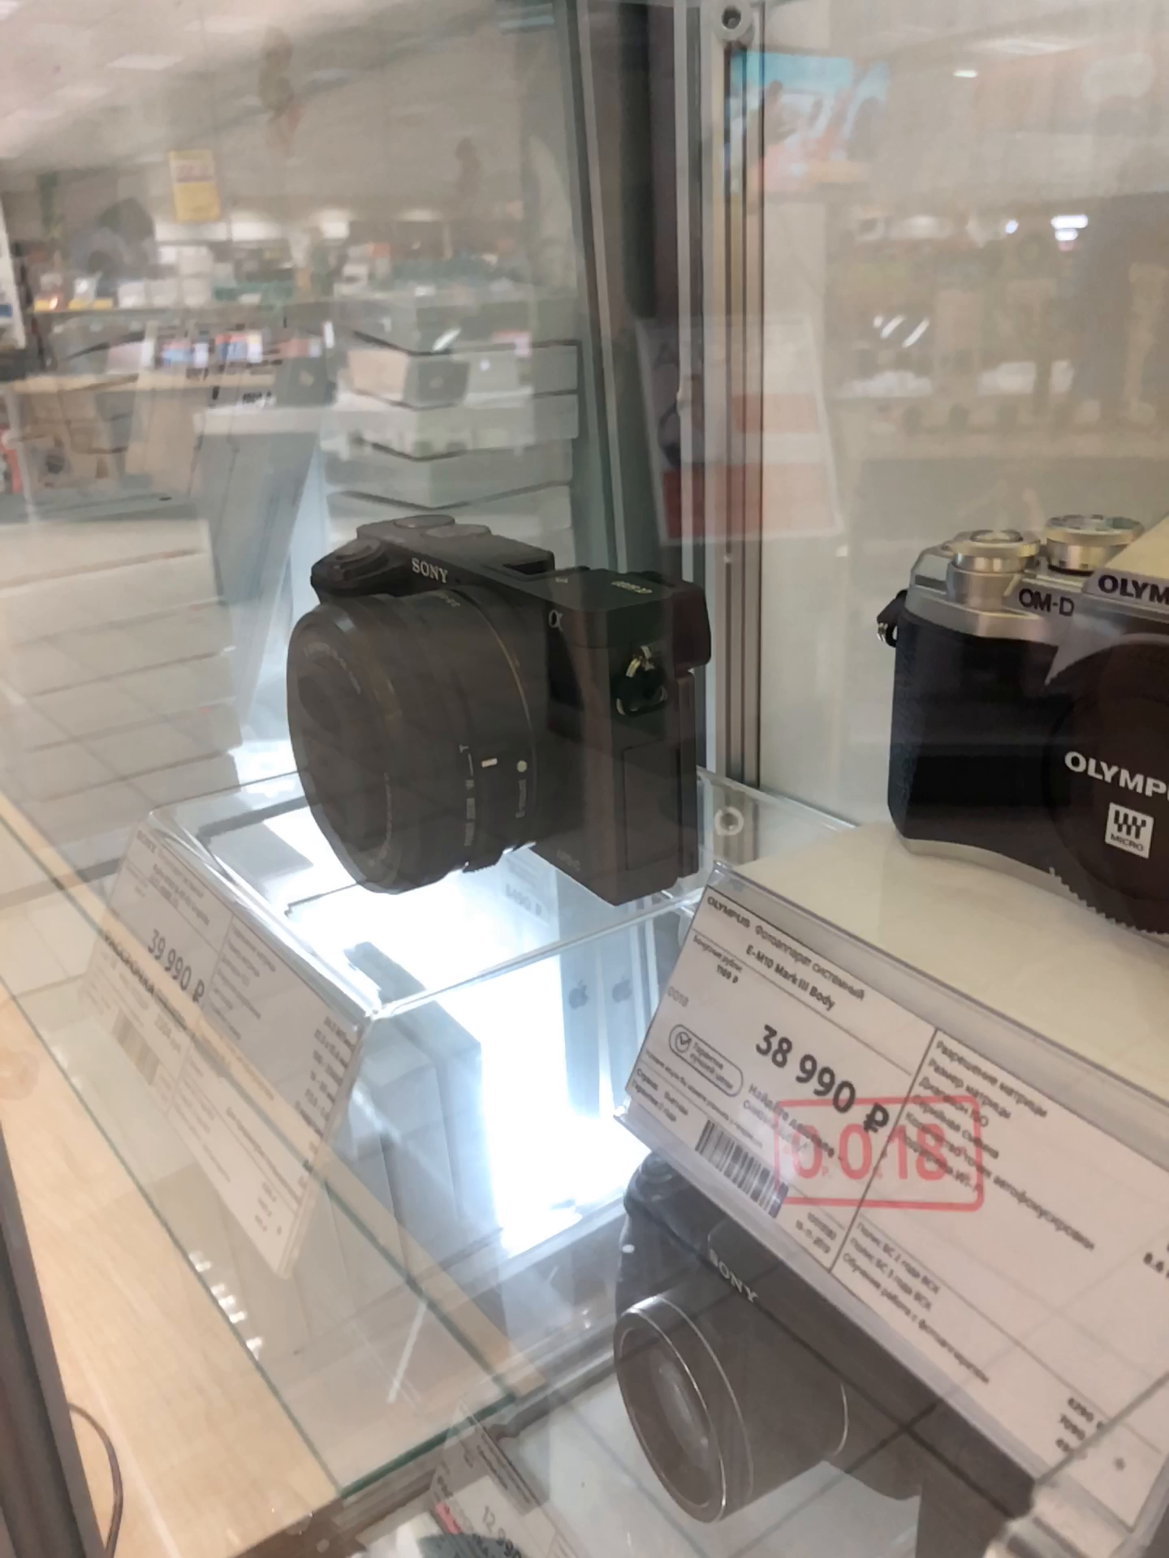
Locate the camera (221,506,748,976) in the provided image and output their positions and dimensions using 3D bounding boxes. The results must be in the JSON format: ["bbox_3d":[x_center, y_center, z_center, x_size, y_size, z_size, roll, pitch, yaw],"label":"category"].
[{"bbox_3d":[-0.029,-0.019,0.311,0.066,0.070,0.130,-16,24,-30],"label":"camera"}]

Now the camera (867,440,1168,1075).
[{"bbox_3d":[0.134,-0.018,0.261,0.087,0.081,0.123,-16,24,-30],"label":"camera"}]
